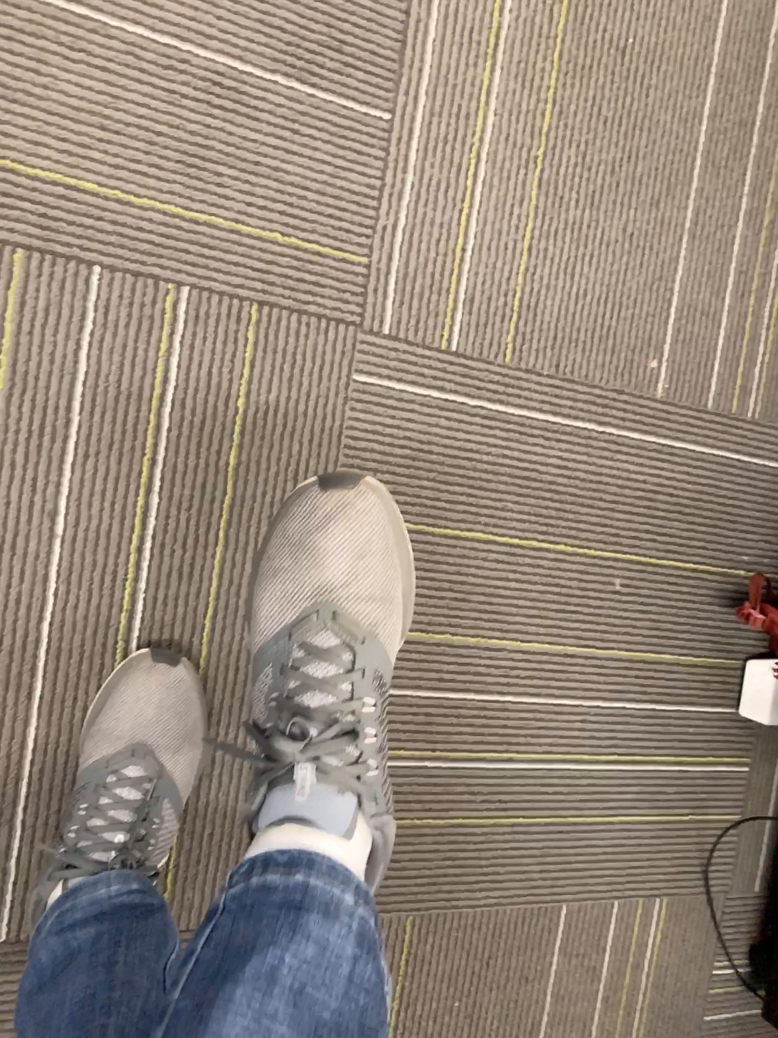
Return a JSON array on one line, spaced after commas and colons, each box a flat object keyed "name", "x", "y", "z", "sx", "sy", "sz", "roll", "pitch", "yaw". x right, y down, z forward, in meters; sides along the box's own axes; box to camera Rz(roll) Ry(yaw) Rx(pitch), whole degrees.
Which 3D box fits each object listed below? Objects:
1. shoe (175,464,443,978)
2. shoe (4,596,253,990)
[{"name": "shoe", "x": -0.043, "y": 0.117, "z": 0.520, "sx": 0.126, "sy": 0.115, "sz": 0.297, "roll": -3, "pitch": 94, "yaw": 11}, {"name": "shoe", "x": -0.259, "y": 0.256, "z": 0.793, "sx": 0.124, "sy": 0.180, "sz": 0.309, "roll": 19, "pitch": 89, "yaw": -21}]
